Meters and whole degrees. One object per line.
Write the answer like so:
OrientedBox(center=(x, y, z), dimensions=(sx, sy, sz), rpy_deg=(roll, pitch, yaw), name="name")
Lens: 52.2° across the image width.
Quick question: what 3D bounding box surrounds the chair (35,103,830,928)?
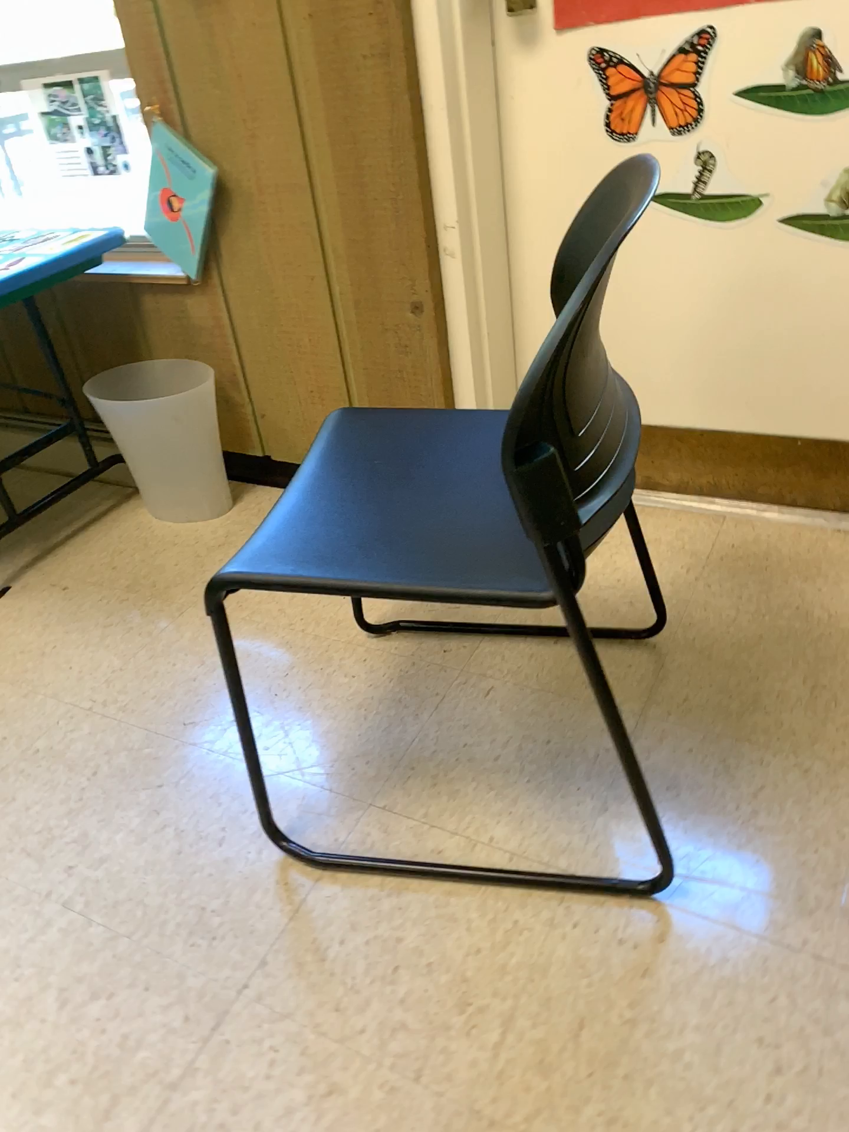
OrientedBox(center=(0.078, -0.074, 1.107), dimensions=(0.621, 0.795, 0.583), rpy_deg=(0, 33, 13), name="chair")
